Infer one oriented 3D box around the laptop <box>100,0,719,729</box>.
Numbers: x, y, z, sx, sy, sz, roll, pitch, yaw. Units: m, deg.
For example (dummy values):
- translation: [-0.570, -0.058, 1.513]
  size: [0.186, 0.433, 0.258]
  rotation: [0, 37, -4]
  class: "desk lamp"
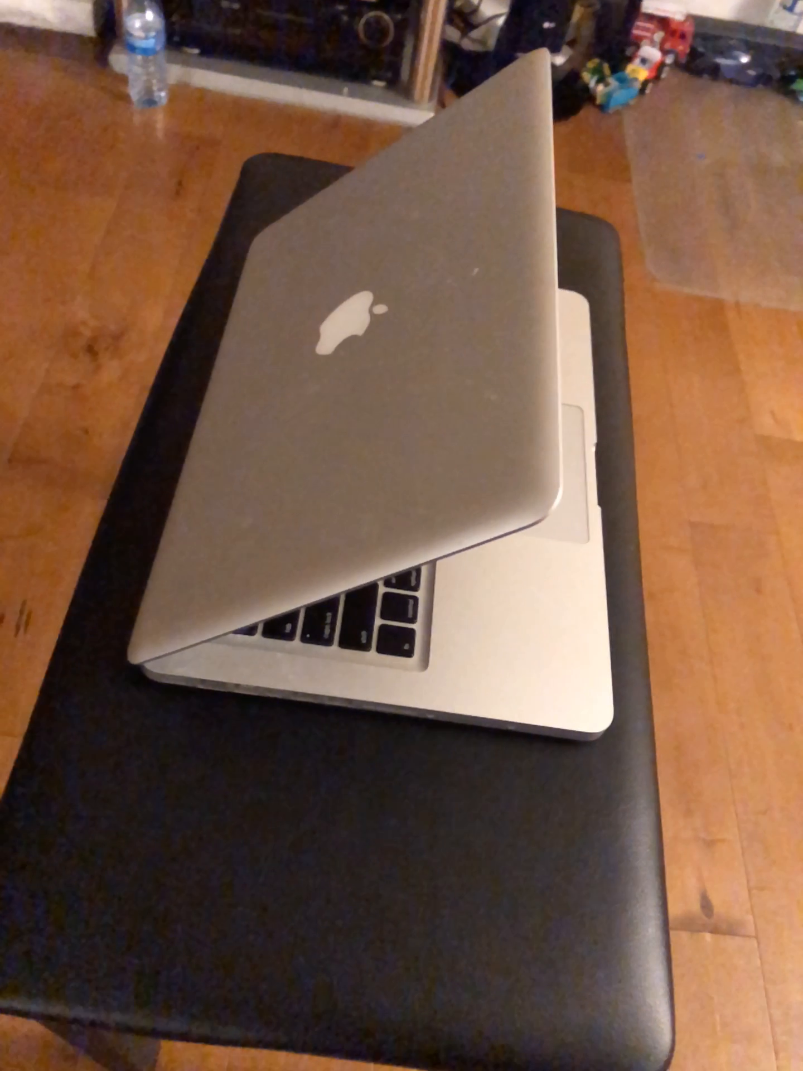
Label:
- translation: [0.017, -0.095, 0.435]
  size: [0.208, 0.144, 0.311]
  rotation: [10, 57, -3]
  class: "laptop"
